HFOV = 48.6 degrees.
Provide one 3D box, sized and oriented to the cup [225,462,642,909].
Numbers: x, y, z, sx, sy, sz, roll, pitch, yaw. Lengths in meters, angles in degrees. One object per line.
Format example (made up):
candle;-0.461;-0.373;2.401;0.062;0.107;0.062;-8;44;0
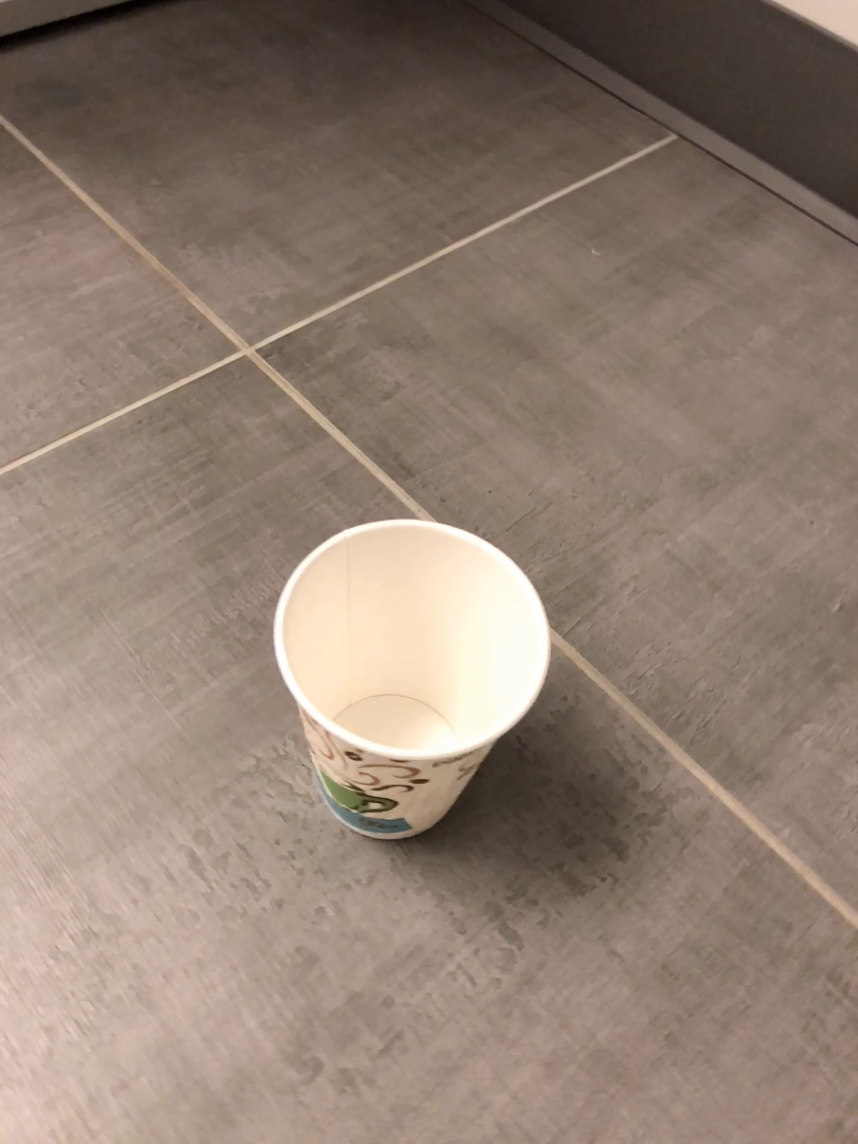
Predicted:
cup;-0.004;0.041;0.340;0.100;0.100;0.090;-23;61;-22
